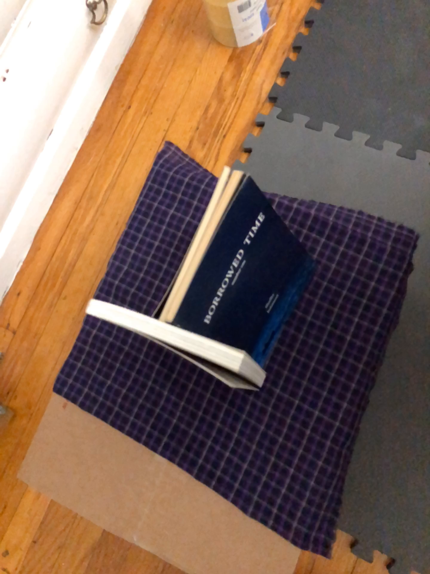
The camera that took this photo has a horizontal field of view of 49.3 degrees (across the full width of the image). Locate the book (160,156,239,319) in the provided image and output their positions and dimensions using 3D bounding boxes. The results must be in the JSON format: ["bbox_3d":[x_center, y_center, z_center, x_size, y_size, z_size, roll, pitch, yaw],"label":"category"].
[{"bbox_3d":[-0.019,-0.034,0.479,0.010,0.200,0.140,23,85,-2],"label":"book"}]

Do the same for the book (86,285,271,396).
[{"bbox_3d":[-0.022,0.060,0.454,0.140,0.190,0.020,20,76,17],"label":"book"}]

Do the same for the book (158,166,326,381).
[{"bbox_3d":[0.041,0.002,0.459,0.010,0.199,0.150,21,82,37],"label":"book"}]
